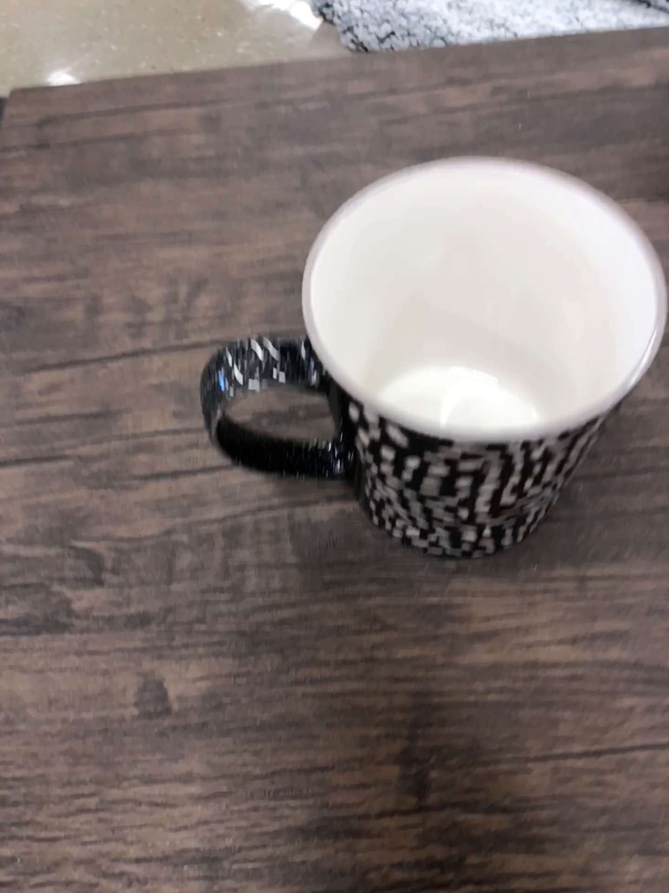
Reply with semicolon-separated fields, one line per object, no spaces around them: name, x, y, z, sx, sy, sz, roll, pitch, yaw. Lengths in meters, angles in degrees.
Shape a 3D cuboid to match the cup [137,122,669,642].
cup;0.025;-0.015;0.238;0.140;0.100;0.100;-12;60;-3
